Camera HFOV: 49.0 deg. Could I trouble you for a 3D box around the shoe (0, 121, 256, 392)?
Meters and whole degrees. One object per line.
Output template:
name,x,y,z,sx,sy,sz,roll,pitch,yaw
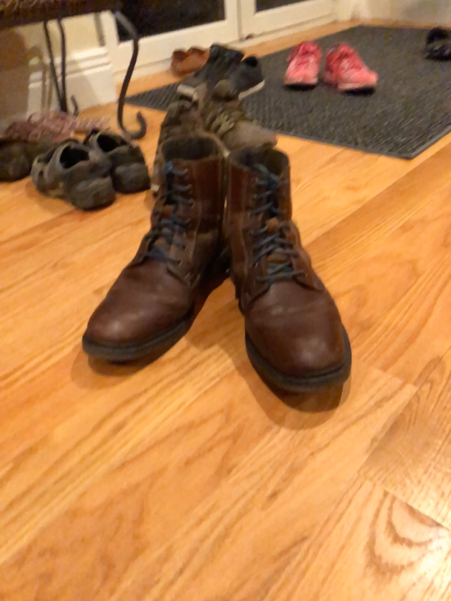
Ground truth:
shoe,-0.077,-0.075,0.573,0.113,0.167,0.311,11,39,22

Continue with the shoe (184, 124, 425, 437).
shoe,0.054,-0.046,0.521,0.128,0.176,0.305,-11,36,-8
